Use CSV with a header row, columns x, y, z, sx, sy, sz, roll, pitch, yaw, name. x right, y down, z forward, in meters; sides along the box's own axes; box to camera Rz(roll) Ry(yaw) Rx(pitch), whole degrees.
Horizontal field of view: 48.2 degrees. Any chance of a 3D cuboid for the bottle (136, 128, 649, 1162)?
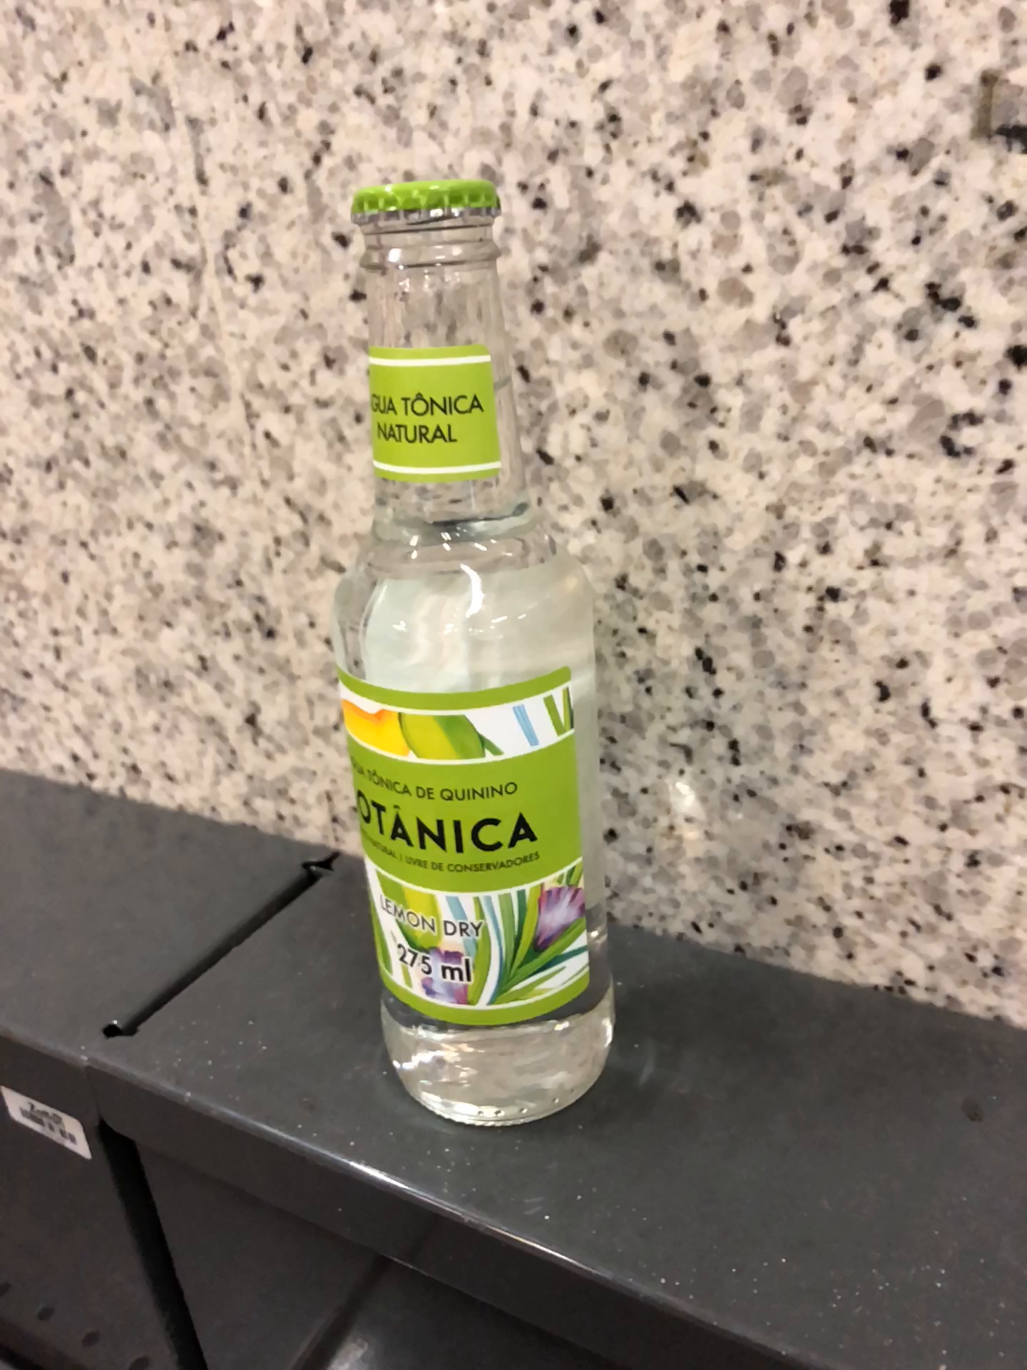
x,y,z,sx,sy,sz,roll,pitch,yaw,name
-0.014,-0.002,0.252,0.060,0.208,0.060,-5,25,3,bottle
